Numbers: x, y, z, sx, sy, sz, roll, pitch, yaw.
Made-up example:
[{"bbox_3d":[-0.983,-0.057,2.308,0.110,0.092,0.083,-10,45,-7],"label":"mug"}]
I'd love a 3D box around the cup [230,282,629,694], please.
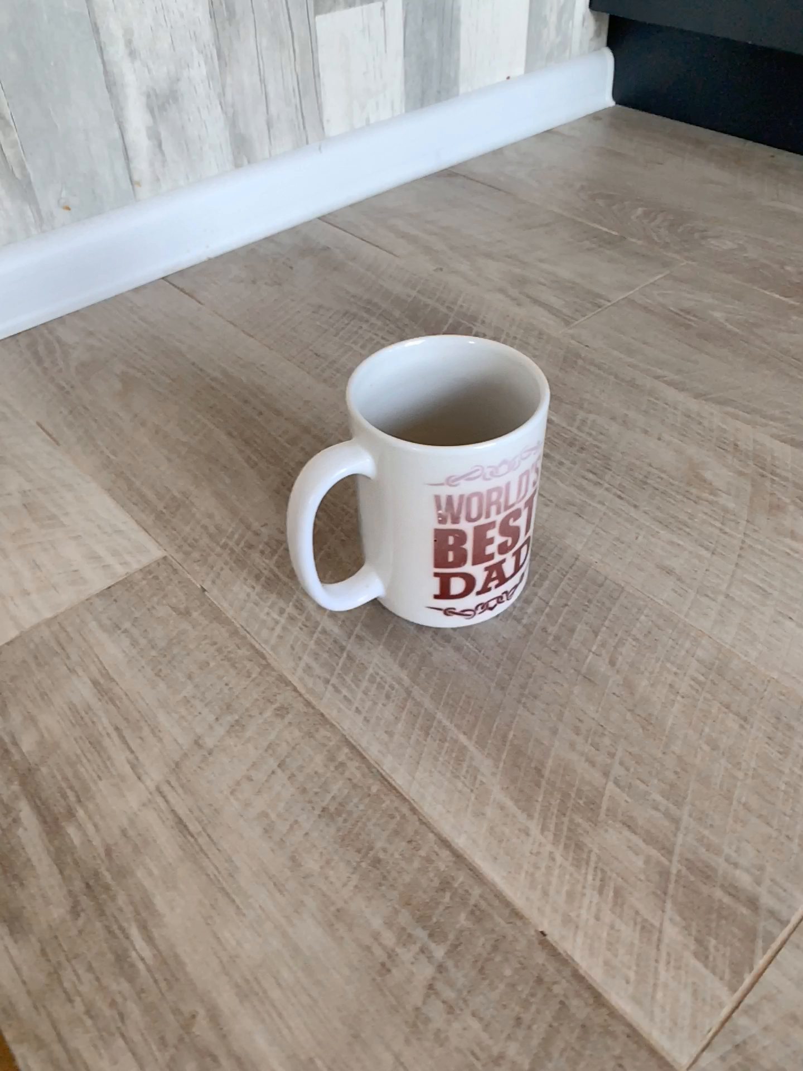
[{"bbox_3d":[0.012,-0.023,0.354,0.130,0.110,0.080,-26,49,-23],"label":"cup"}]
